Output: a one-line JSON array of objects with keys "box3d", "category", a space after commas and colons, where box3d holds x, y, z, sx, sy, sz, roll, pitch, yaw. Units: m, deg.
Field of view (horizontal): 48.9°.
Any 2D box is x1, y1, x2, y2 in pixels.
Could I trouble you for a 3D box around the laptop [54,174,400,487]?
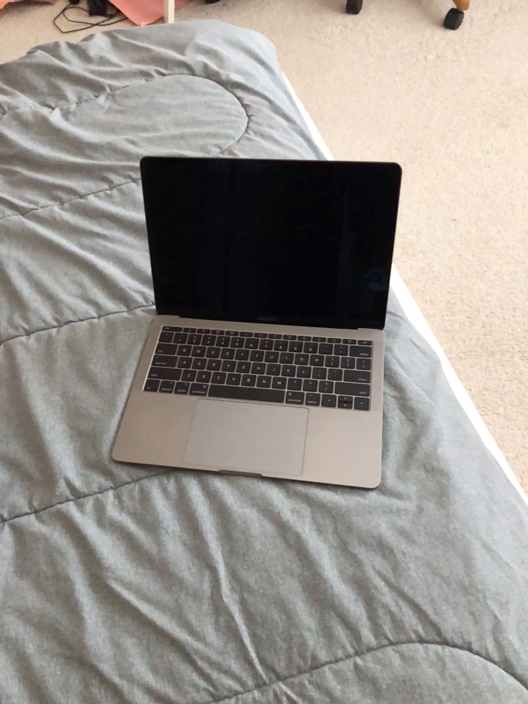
[{"box3d": [-0.010, -0.030, 0.612, 0.279, 0.159, 0.282, 4, 57, 8], "category": "laptop"}]
